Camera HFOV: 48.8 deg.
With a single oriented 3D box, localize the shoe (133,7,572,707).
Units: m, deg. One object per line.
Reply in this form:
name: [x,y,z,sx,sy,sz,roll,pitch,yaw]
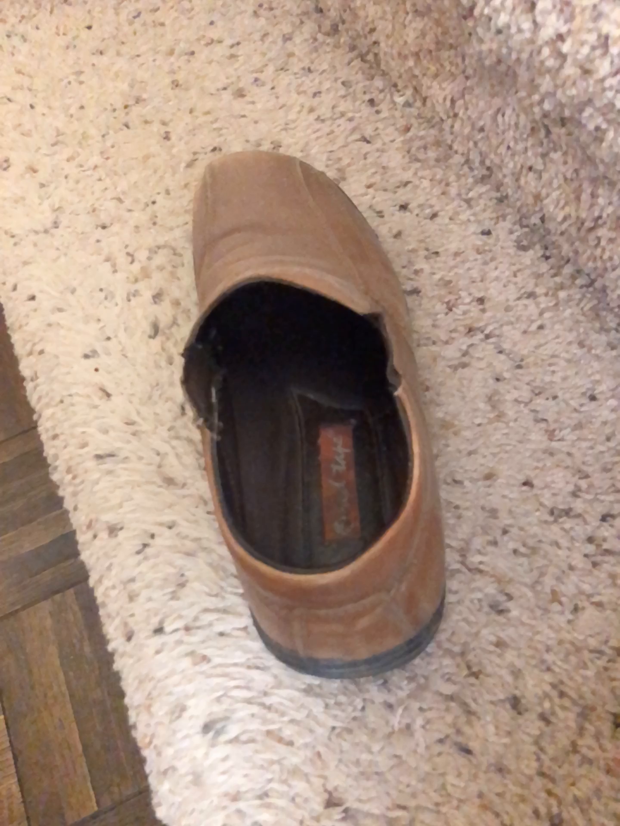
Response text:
shoe: [-0.004,-0.041,0.311,0.110,0.120,0.290,-11,57,-1]
